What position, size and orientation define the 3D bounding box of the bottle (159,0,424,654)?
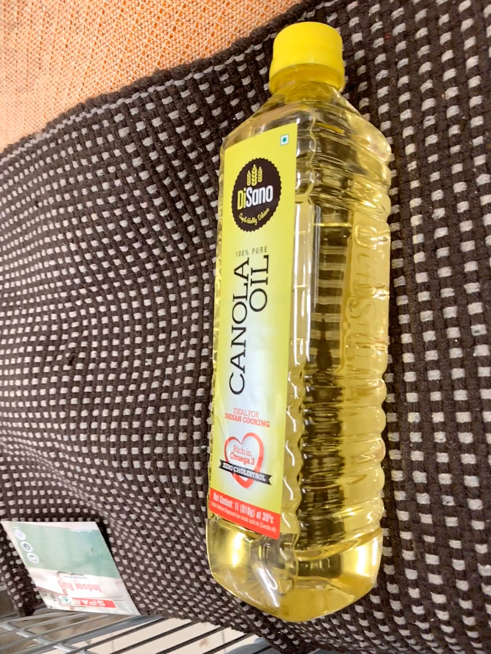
[{"bbox_3d":[0.018,-0.022,0.204,0.070,0.060,0.250,1,87,49],"label":"bottle"}]
